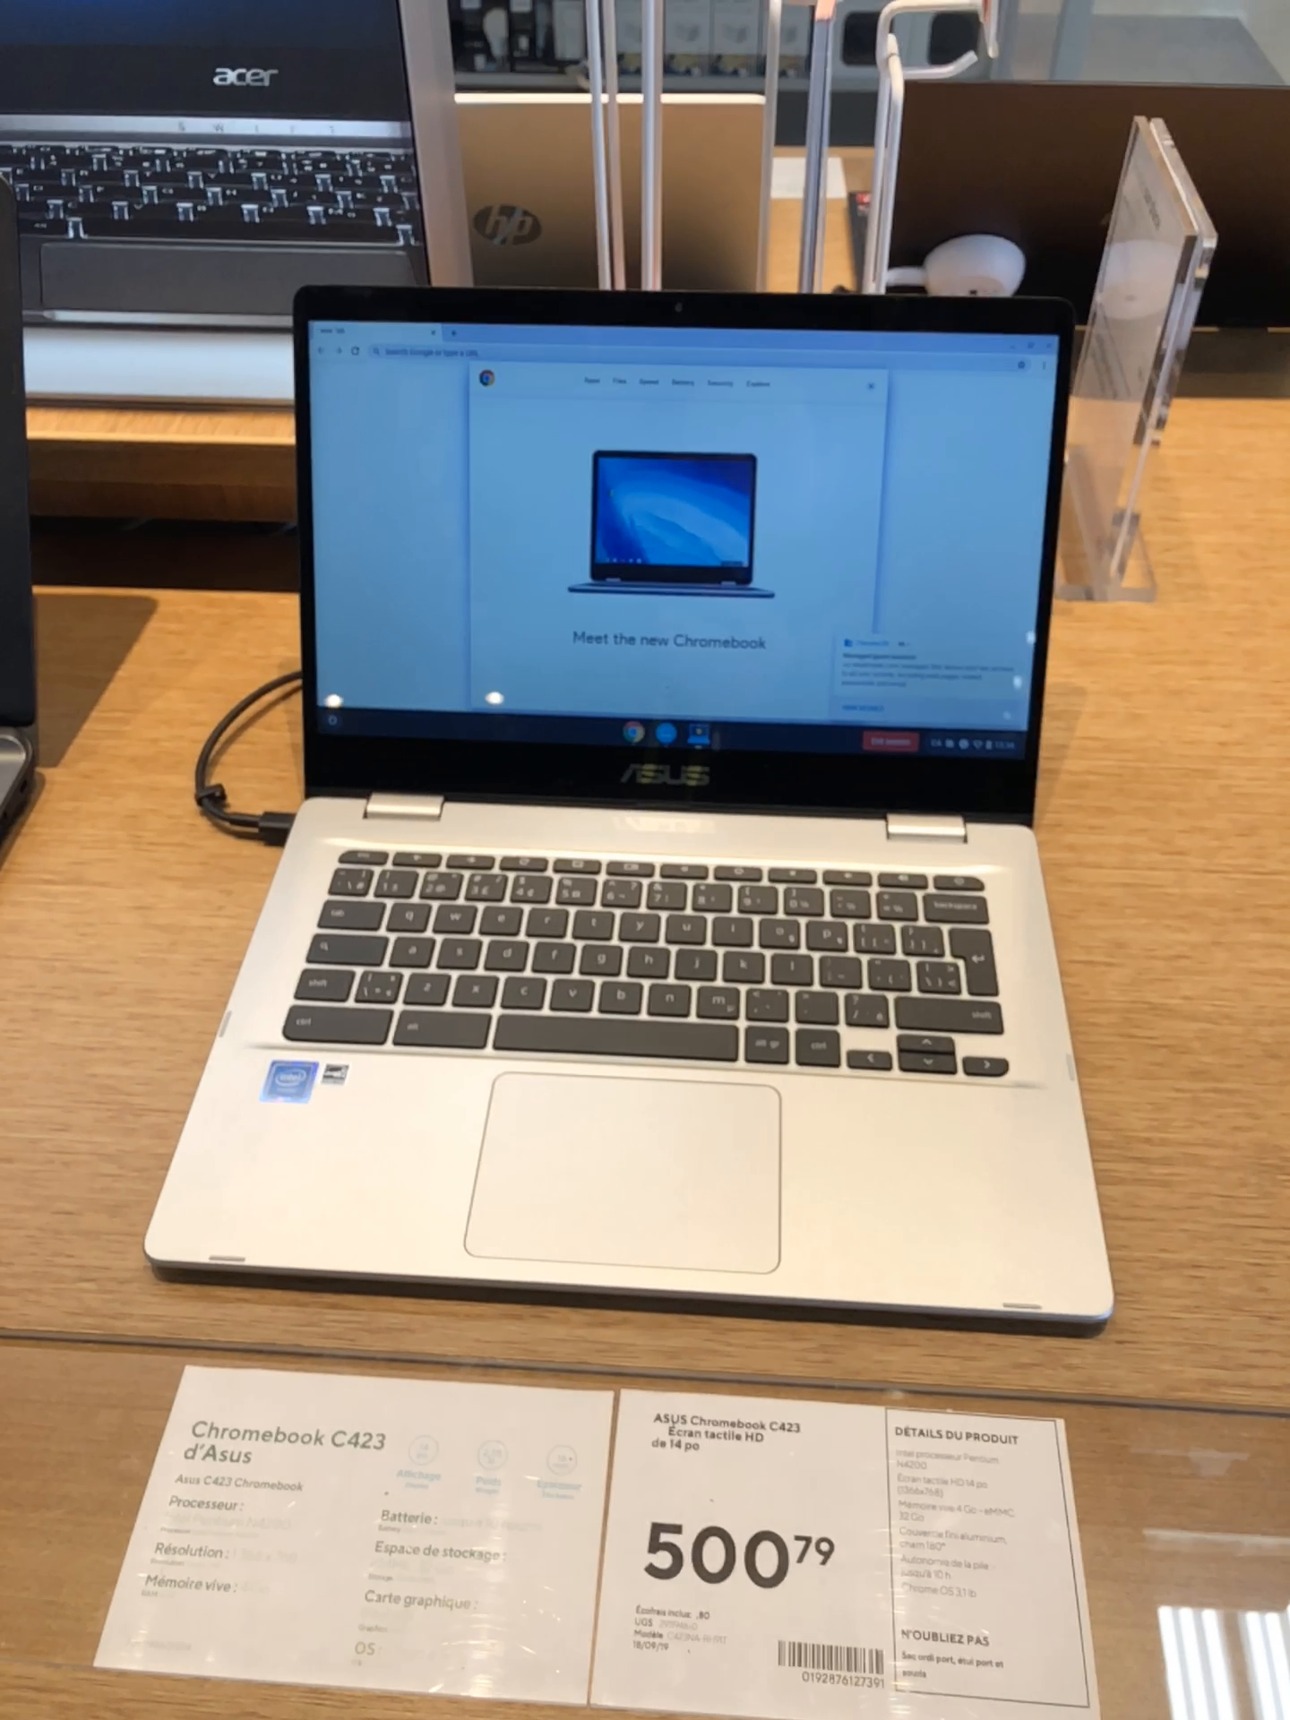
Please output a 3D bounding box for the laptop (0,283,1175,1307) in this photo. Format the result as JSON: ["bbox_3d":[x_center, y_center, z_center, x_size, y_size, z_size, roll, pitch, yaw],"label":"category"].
[{"bbox_3d":[-0.017,-0.045,0.516,0.281,0.186,0.337,2,44,0],"label":"laptop"}]
